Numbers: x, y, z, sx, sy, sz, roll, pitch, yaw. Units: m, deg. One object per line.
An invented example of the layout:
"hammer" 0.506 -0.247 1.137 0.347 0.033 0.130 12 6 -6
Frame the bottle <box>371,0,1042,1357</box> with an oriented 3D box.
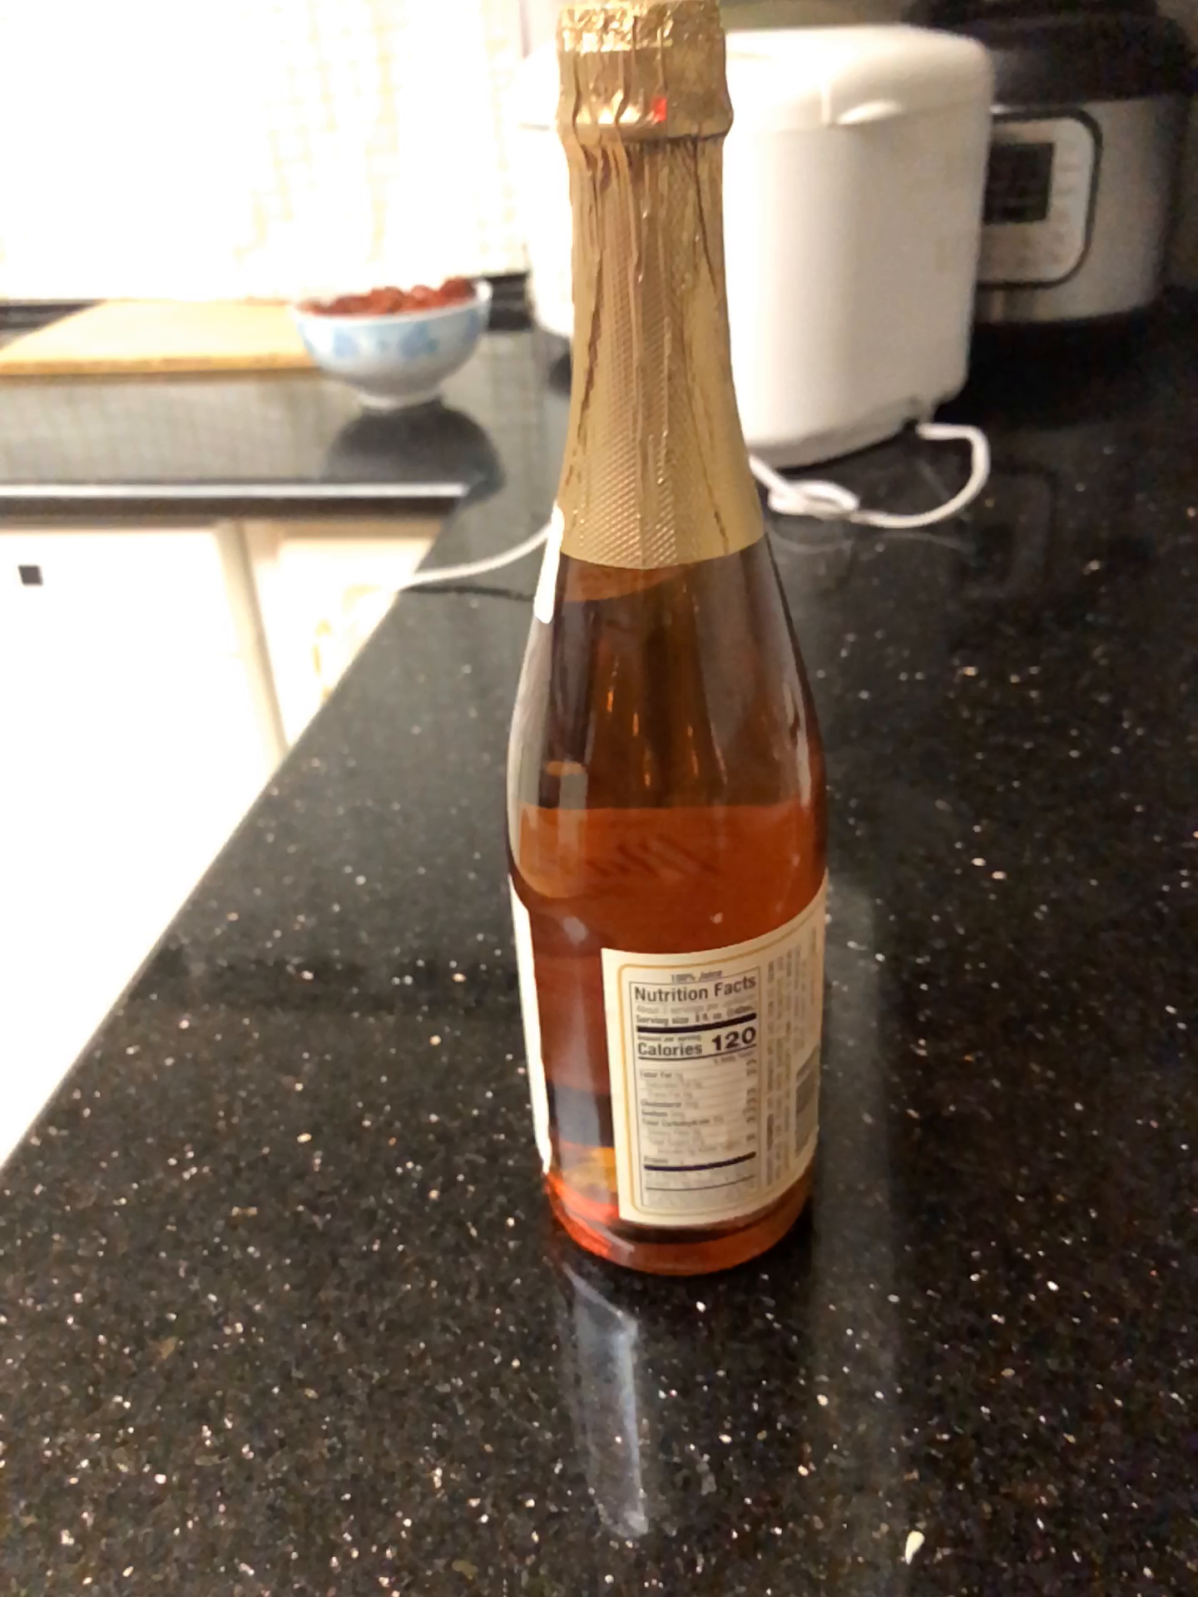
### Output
"bottle" 0.022 -0.016 0.317 0.090 0.298 0.090 -3 31 2
